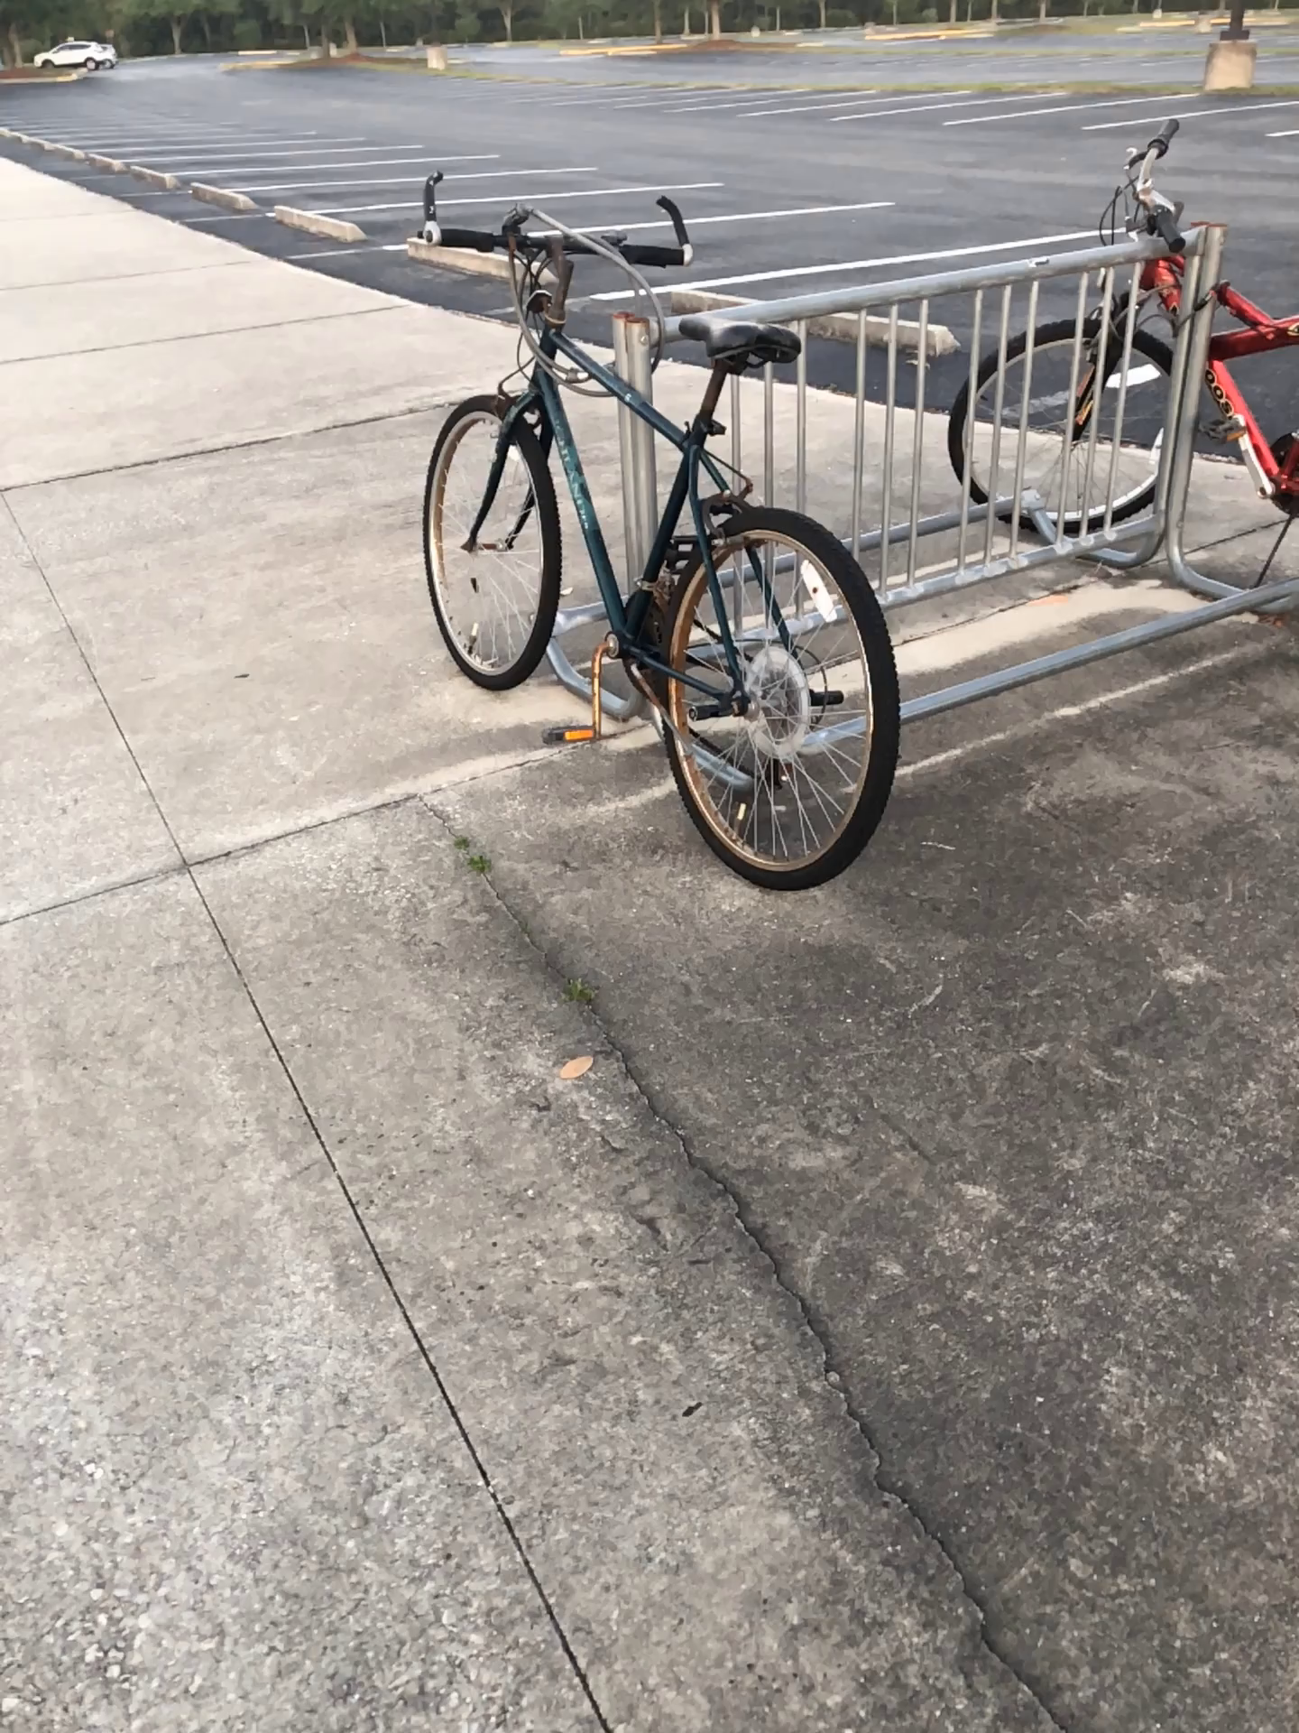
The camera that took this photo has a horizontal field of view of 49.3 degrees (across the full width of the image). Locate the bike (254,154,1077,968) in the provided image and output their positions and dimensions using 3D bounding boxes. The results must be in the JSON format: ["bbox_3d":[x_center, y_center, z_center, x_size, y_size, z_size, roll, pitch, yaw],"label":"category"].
[{"bbox_3d":[-0.105,-0.746,2.791,0.584,1.103,1.759,-19,33,-26],"label":"bike"}]
